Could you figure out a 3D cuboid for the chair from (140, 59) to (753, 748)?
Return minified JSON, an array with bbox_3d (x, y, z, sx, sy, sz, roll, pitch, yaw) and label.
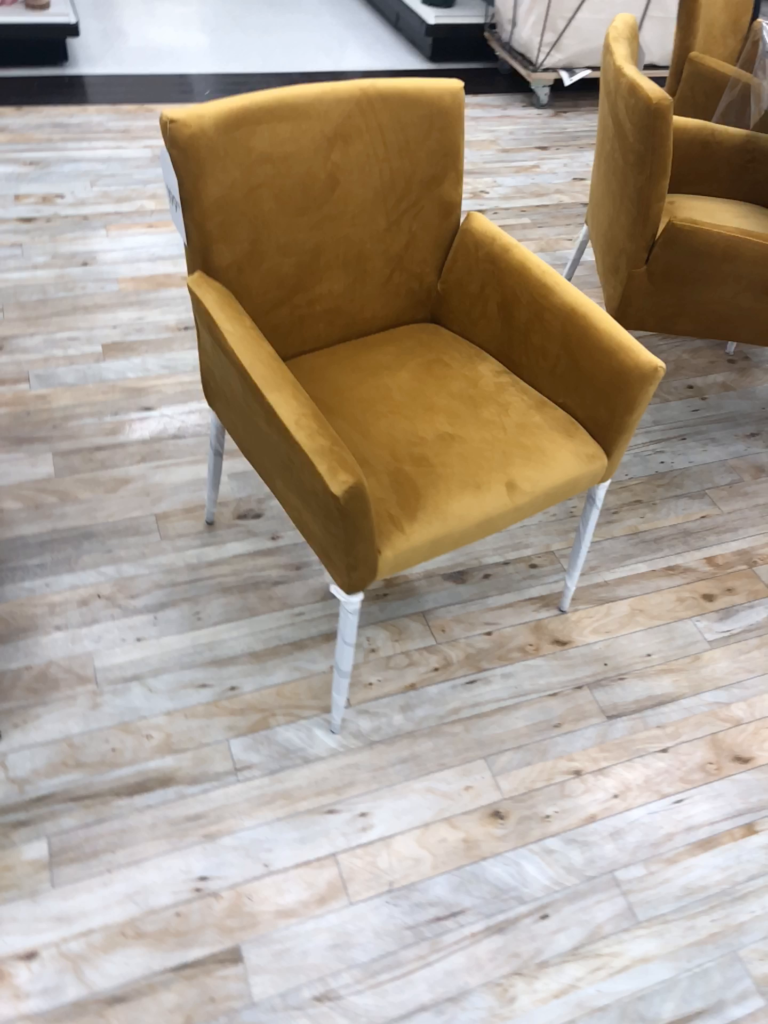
[{"bbox_3d":[0.029,-0.171,1.332,0.561,0.797,0.541,-22,52,-27],"label":"chair"}]
